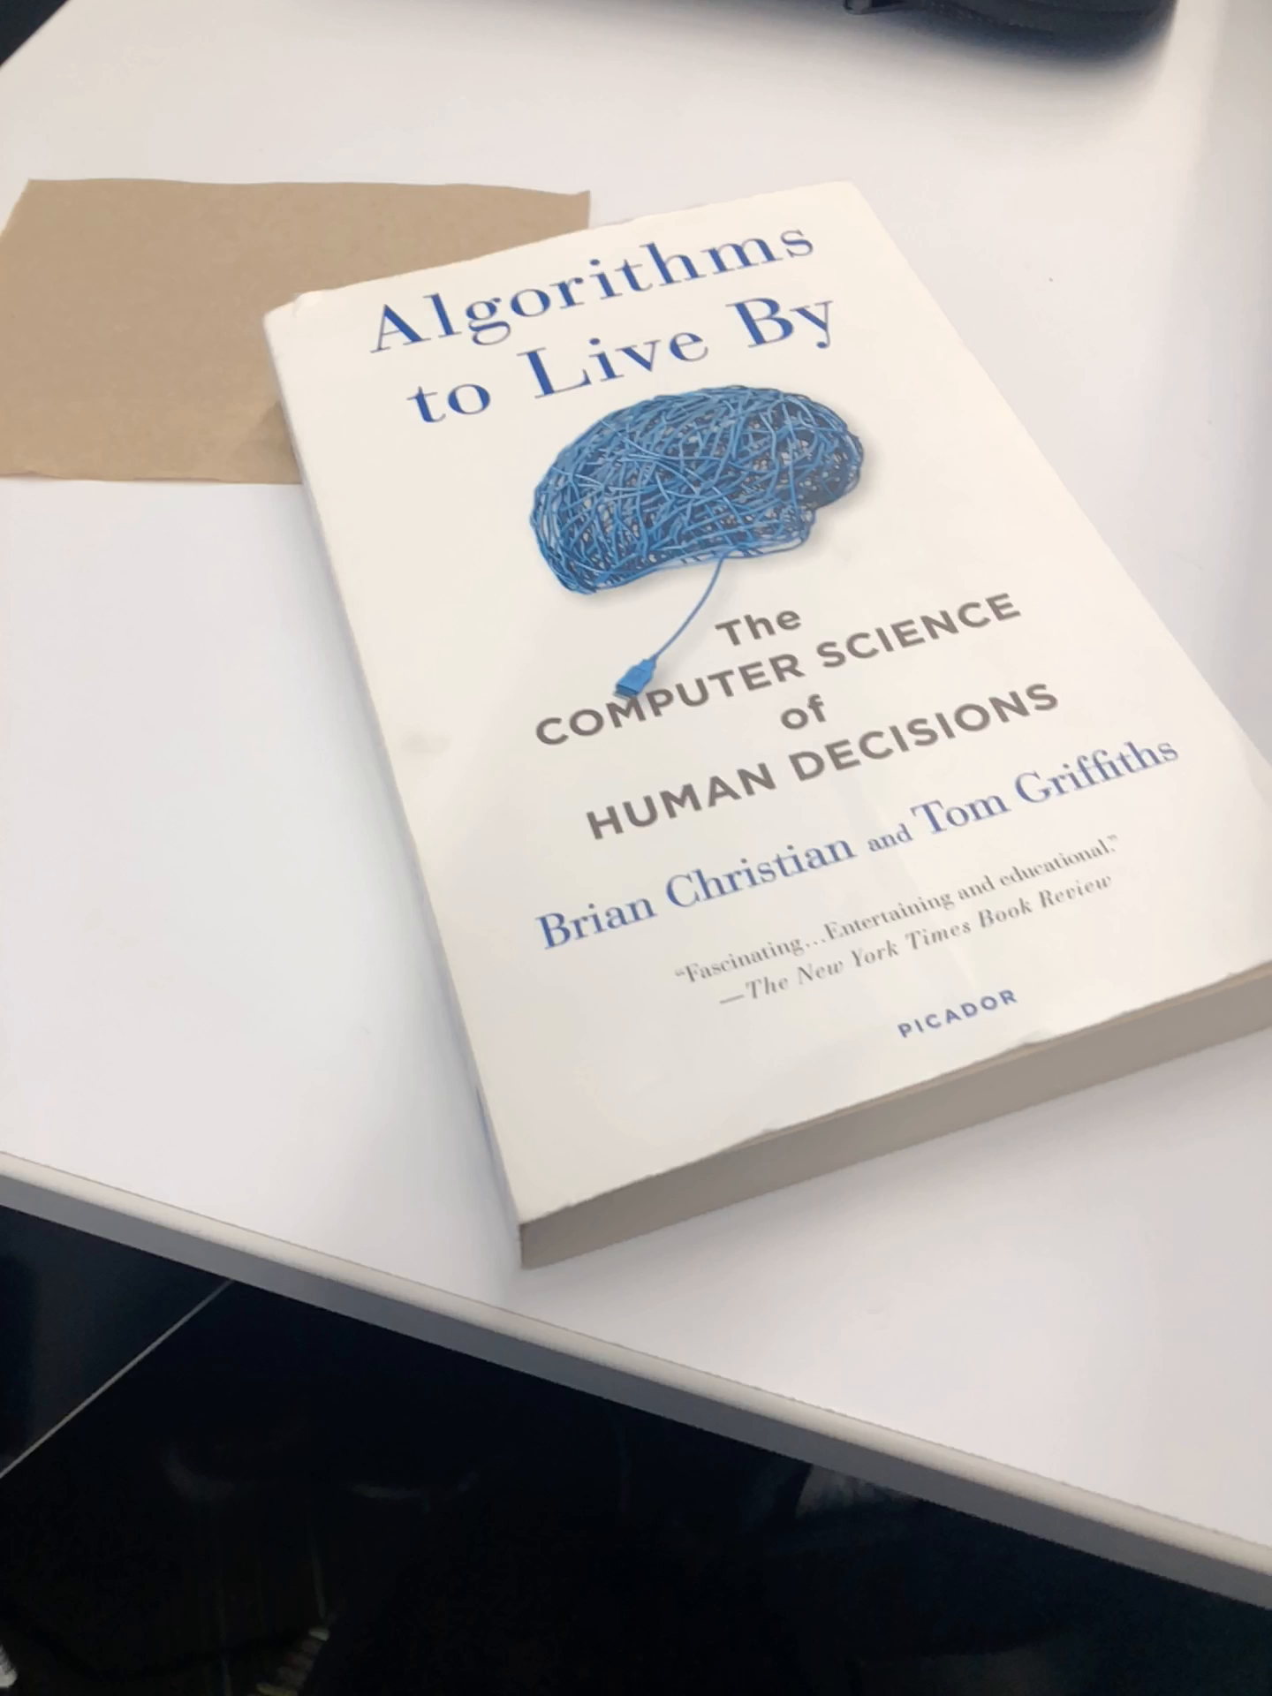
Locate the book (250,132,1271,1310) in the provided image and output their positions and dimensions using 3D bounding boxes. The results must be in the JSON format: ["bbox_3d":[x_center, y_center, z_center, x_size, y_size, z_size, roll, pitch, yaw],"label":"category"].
[{"bbox_3d":[0.028,-0.047,0.277,0.160,0.040,0.221,-16,57,-9],"label":"book"}]
